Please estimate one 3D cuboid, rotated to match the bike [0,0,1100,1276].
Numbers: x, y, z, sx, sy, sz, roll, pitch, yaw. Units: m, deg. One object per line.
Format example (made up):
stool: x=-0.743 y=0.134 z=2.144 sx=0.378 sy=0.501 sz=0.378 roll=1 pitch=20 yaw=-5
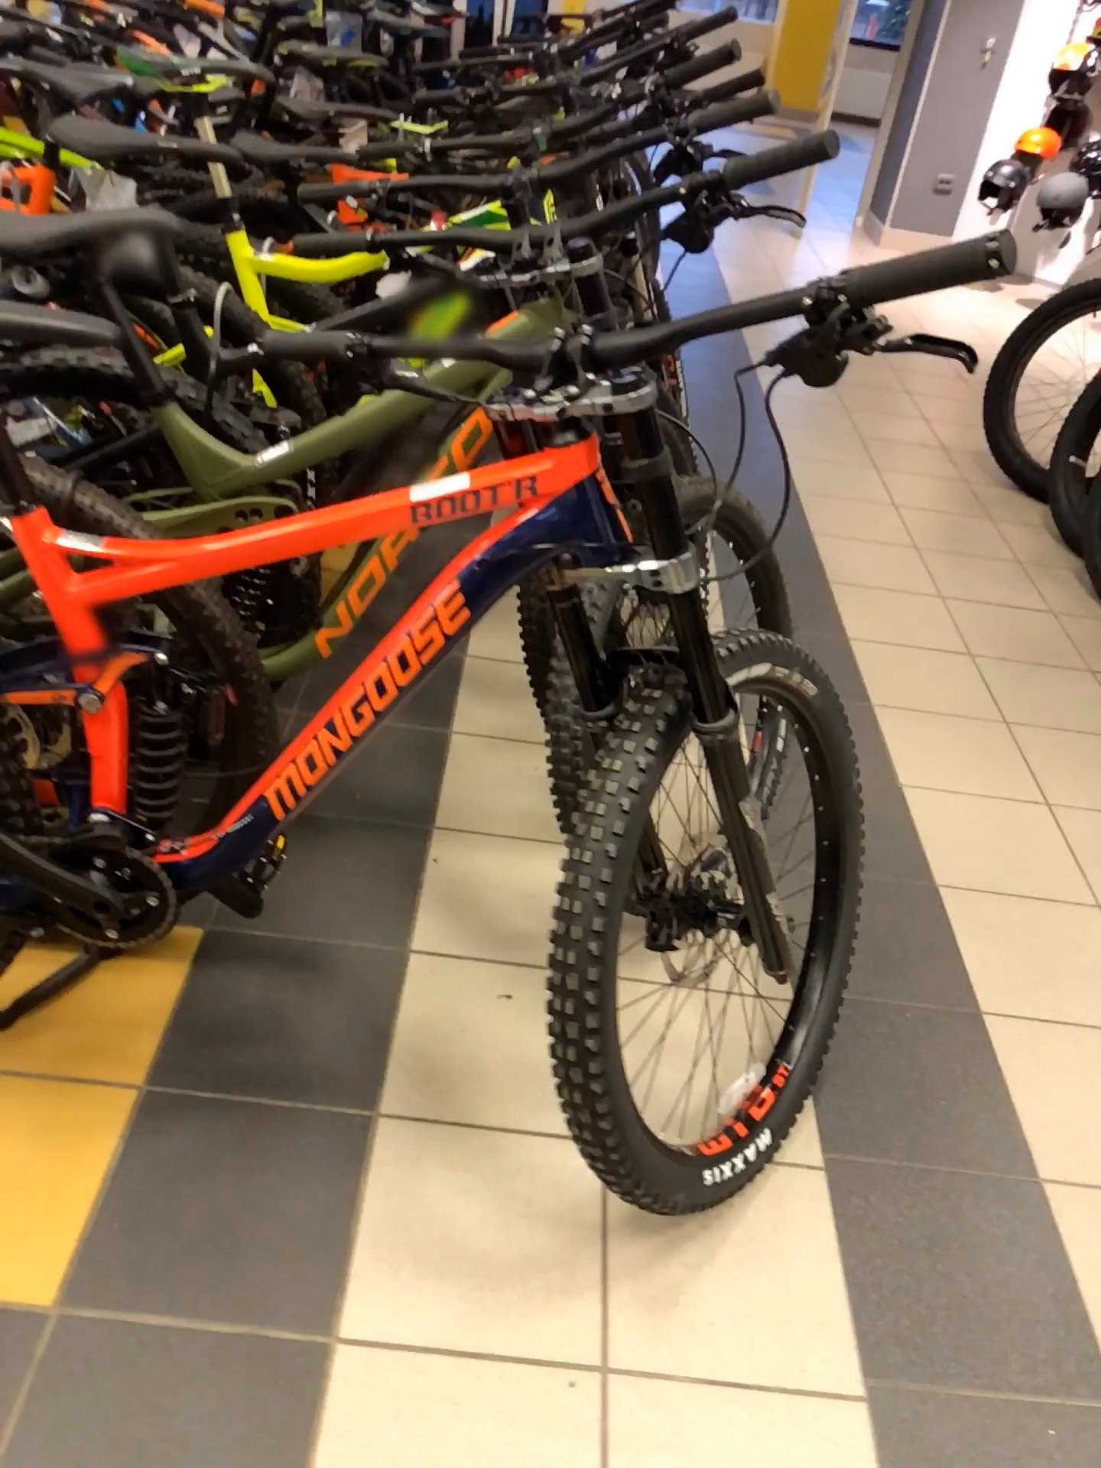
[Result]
bike: x=-0.392 y=-0.197 z=1.413 sx=1.698 sy=1.109 sz=0.805 roll=-1 pitch=33 yaw=-11
